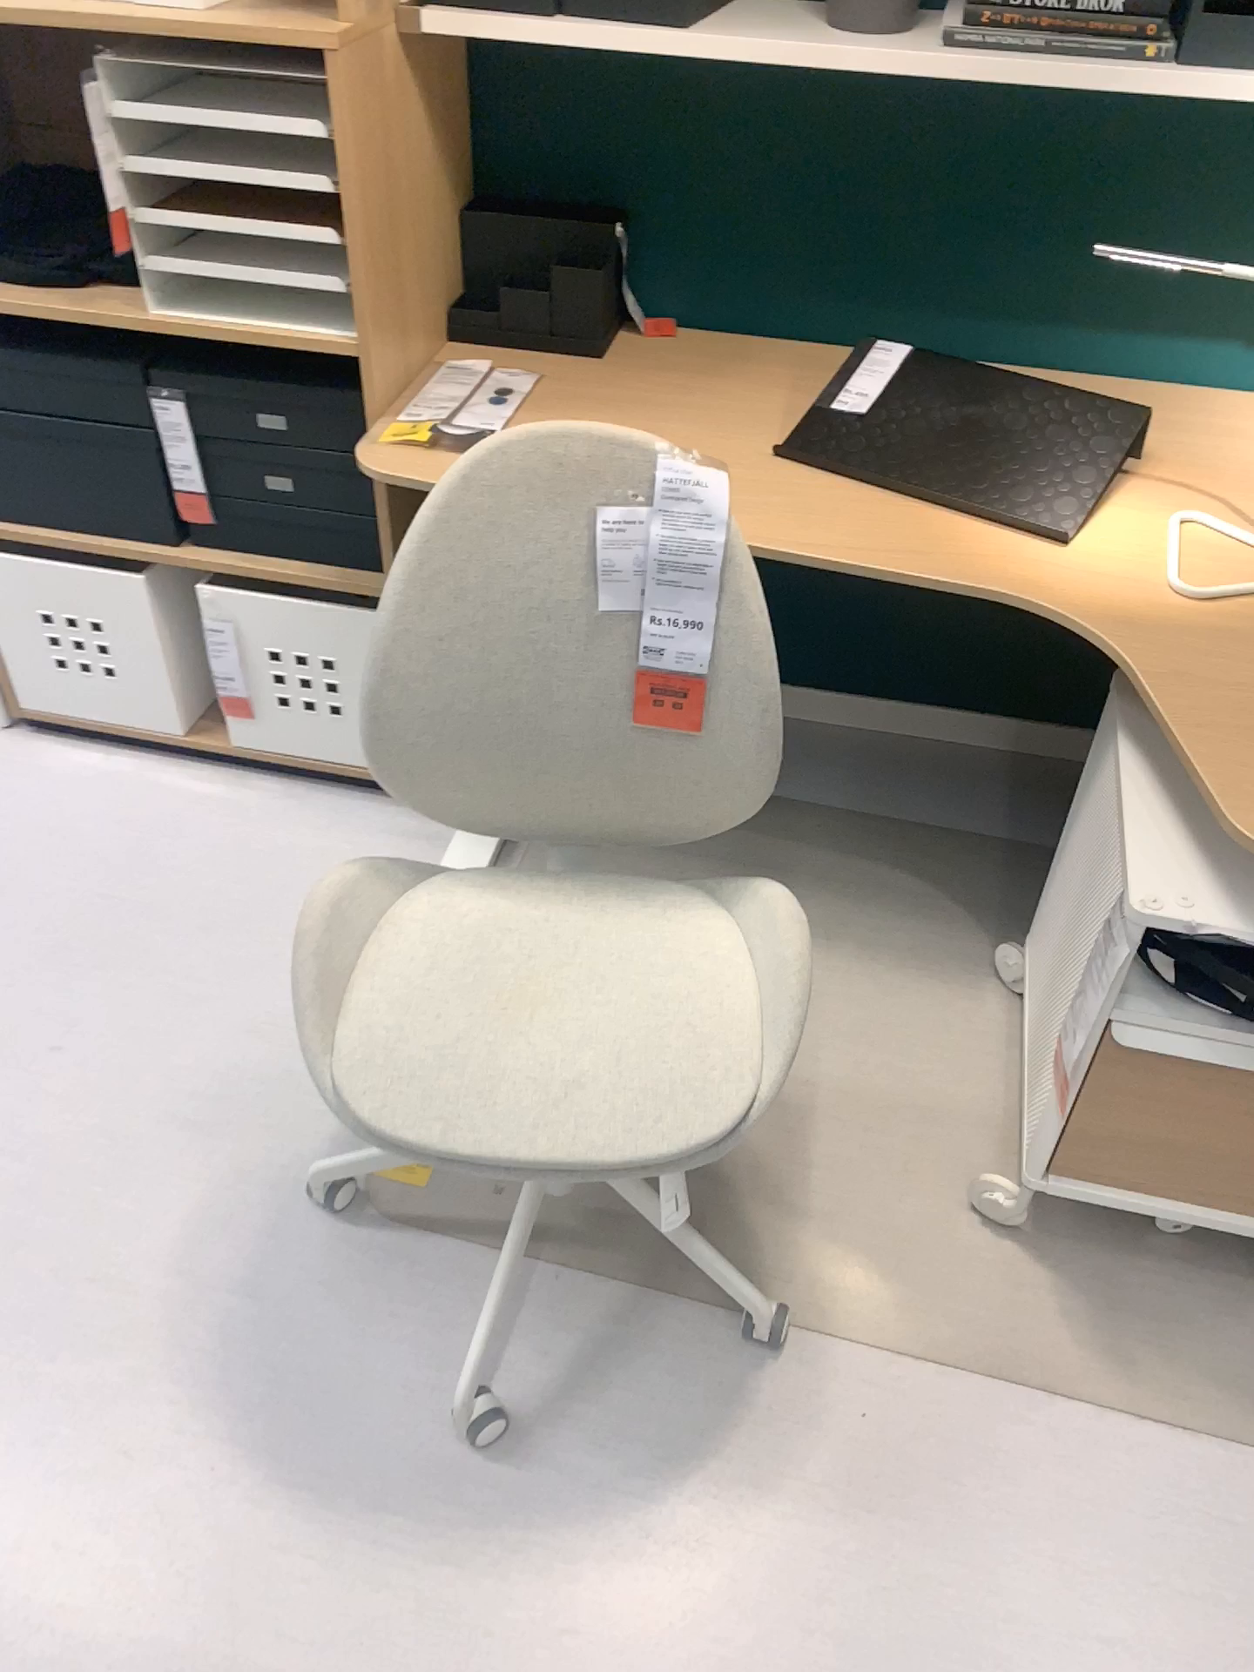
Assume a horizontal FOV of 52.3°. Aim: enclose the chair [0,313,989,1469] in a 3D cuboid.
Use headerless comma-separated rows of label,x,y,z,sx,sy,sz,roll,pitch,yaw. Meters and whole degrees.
chair,-0.093,0.091,1.330,0.630,0.996,0.643,4,41,2
